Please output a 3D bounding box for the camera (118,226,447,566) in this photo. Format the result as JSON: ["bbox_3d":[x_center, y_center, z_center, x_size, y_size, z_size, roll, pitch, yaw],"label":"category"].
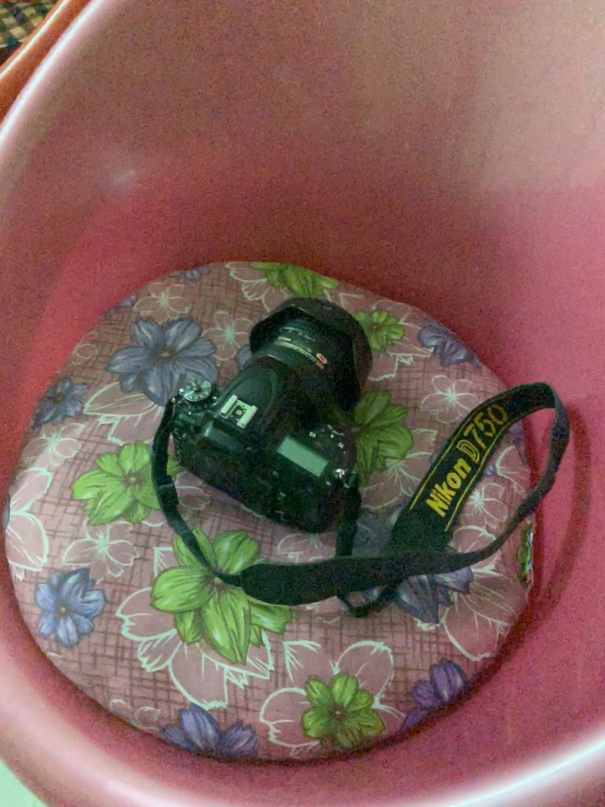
[{"bbox_3d":[-0.008,-0.010,0.510,0.166,0.130,0.192,26,61,17],"label":"camera"}]
